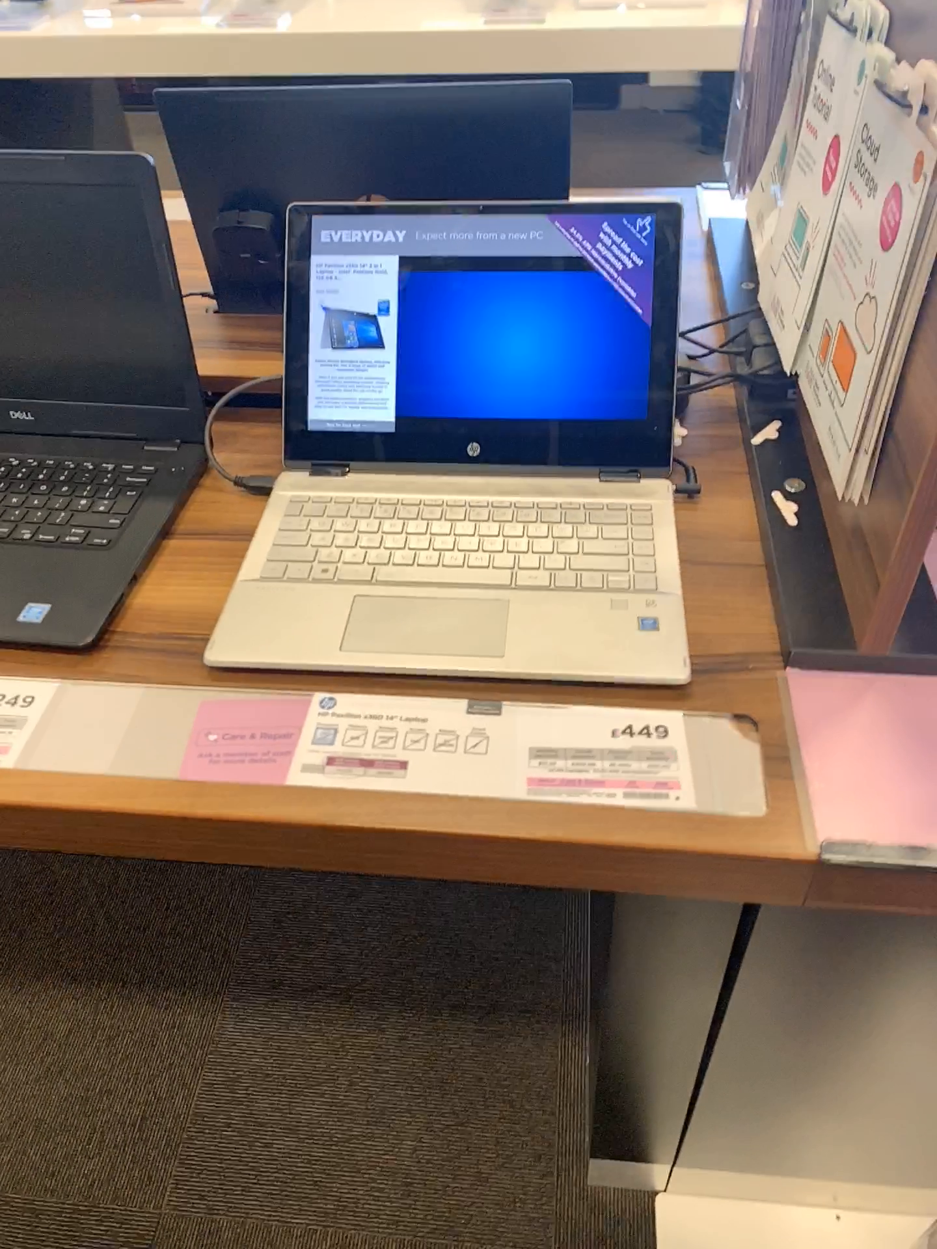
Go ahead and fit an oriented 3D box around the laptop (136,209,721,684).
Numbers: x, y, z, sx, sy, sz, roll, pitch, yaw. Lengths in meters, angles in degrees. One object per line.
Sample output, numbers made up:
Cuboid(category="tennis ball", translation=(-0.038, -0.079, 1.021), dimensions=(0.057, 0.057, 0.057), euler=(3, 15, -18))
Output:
Cuboid(category="laptop", translation=(-0.008, -0.150, 0.690), dimensions=(0.313, 0.154, 0.363), euler=(2, 44, 6))
